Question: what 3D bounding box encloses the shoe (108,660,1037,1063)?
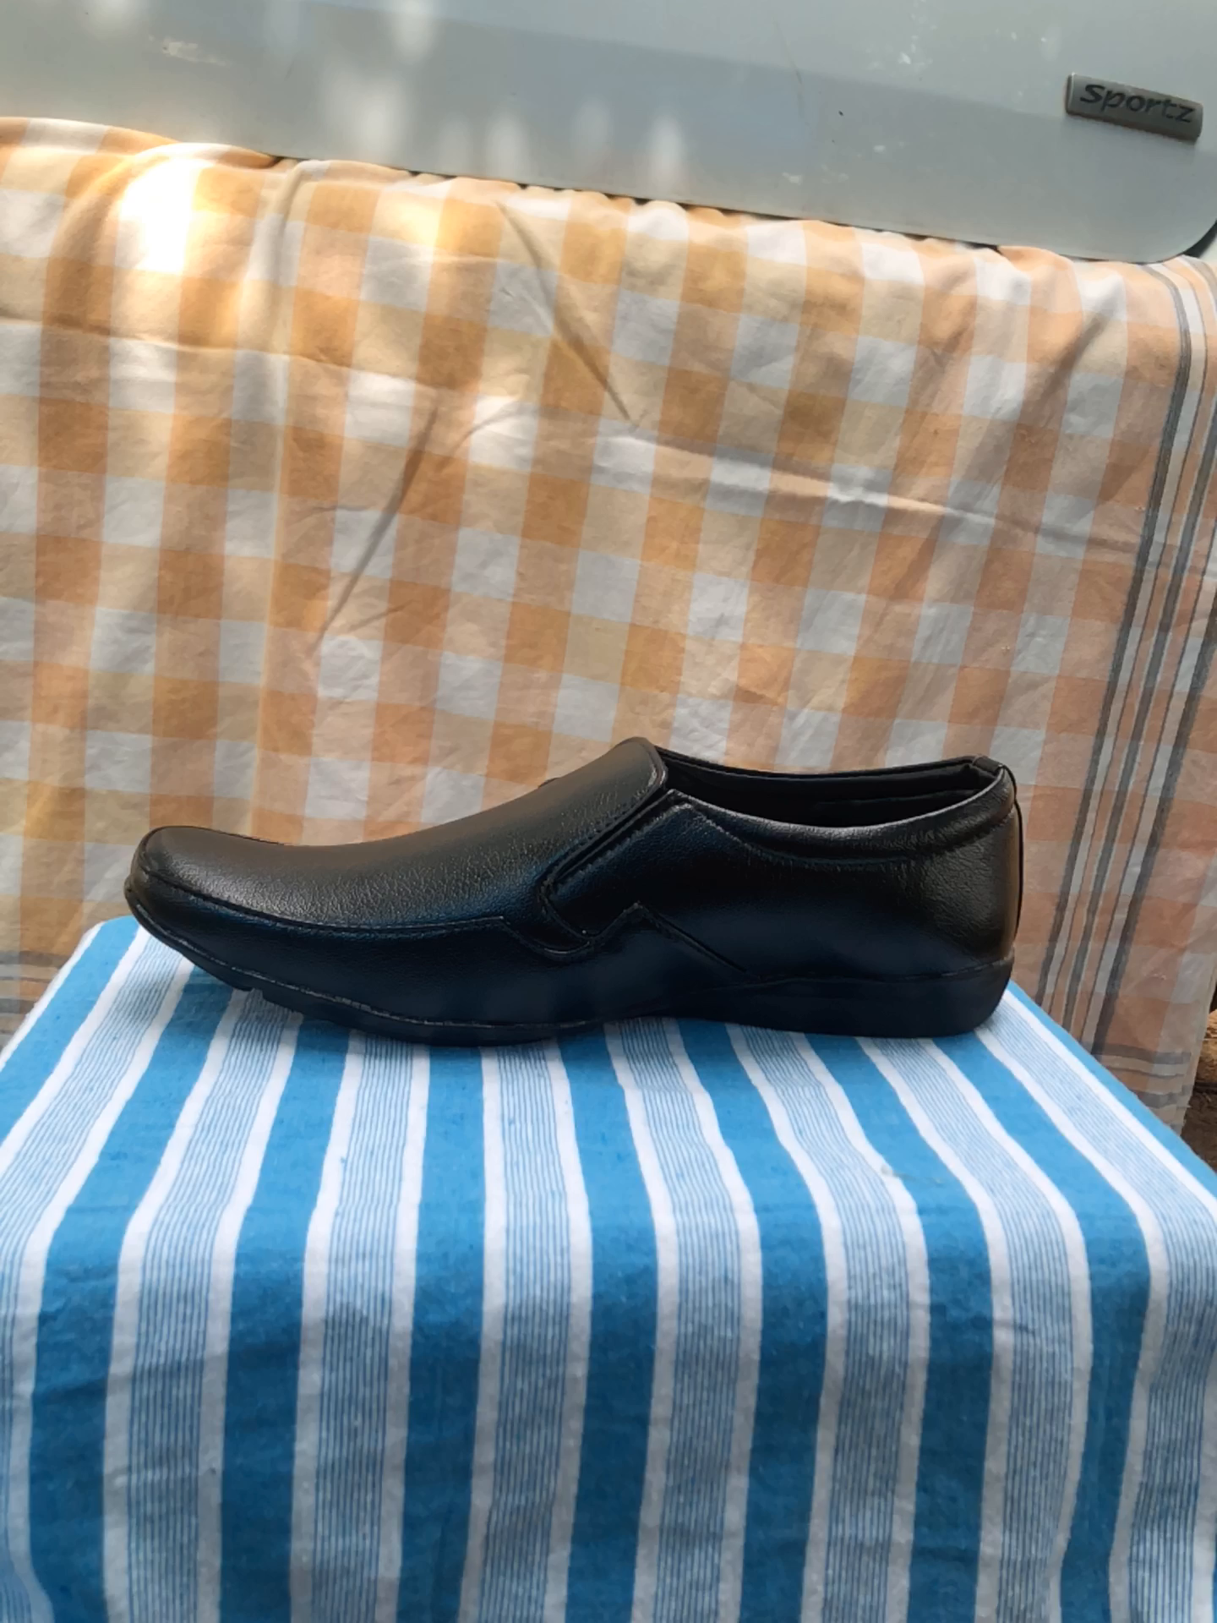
[{"bbox_3d":[-0.015,0.017,0.485,0.300,0.110,0.100,2,14,-14],"label":"shoe"}]
